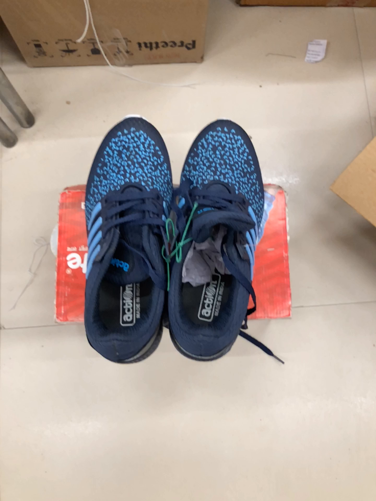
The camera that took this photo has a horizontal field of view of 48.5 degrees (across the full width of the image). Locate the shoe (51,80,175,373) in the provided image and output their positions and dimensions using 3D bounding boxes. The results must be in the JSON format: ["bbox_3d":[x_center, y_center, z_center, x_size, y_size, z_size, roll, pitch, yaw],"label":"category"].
[{"bbox_3d":[-0.067,-0.019,0.433,0.101,0.133,0.263,-1,80,-2],"label":"shoe"}]

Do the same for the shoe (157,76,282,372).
[{"bbox_3d":[0.030,-0.020,0.436,0.093,0.133,0.263,5,80,-1],"label":"shoe"}]
